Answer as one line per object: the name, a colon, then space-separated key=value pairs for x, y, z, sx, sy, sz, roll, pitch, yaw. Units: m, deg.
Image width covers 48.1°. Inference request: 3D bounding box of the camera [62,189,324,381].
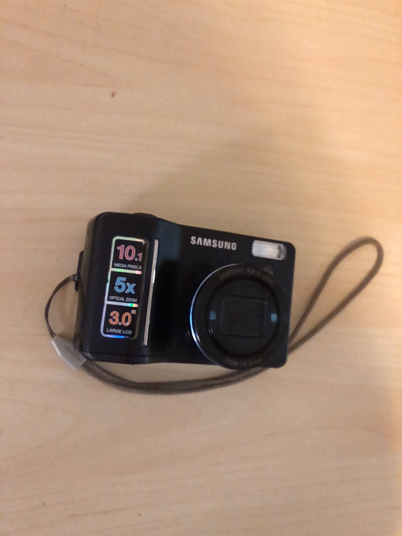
camera: x=-0.002 y=0.011 z=0.207 sx=0.110 sy=0.030 sz=0.070 roll=8 pitch=84 yaw=-18
